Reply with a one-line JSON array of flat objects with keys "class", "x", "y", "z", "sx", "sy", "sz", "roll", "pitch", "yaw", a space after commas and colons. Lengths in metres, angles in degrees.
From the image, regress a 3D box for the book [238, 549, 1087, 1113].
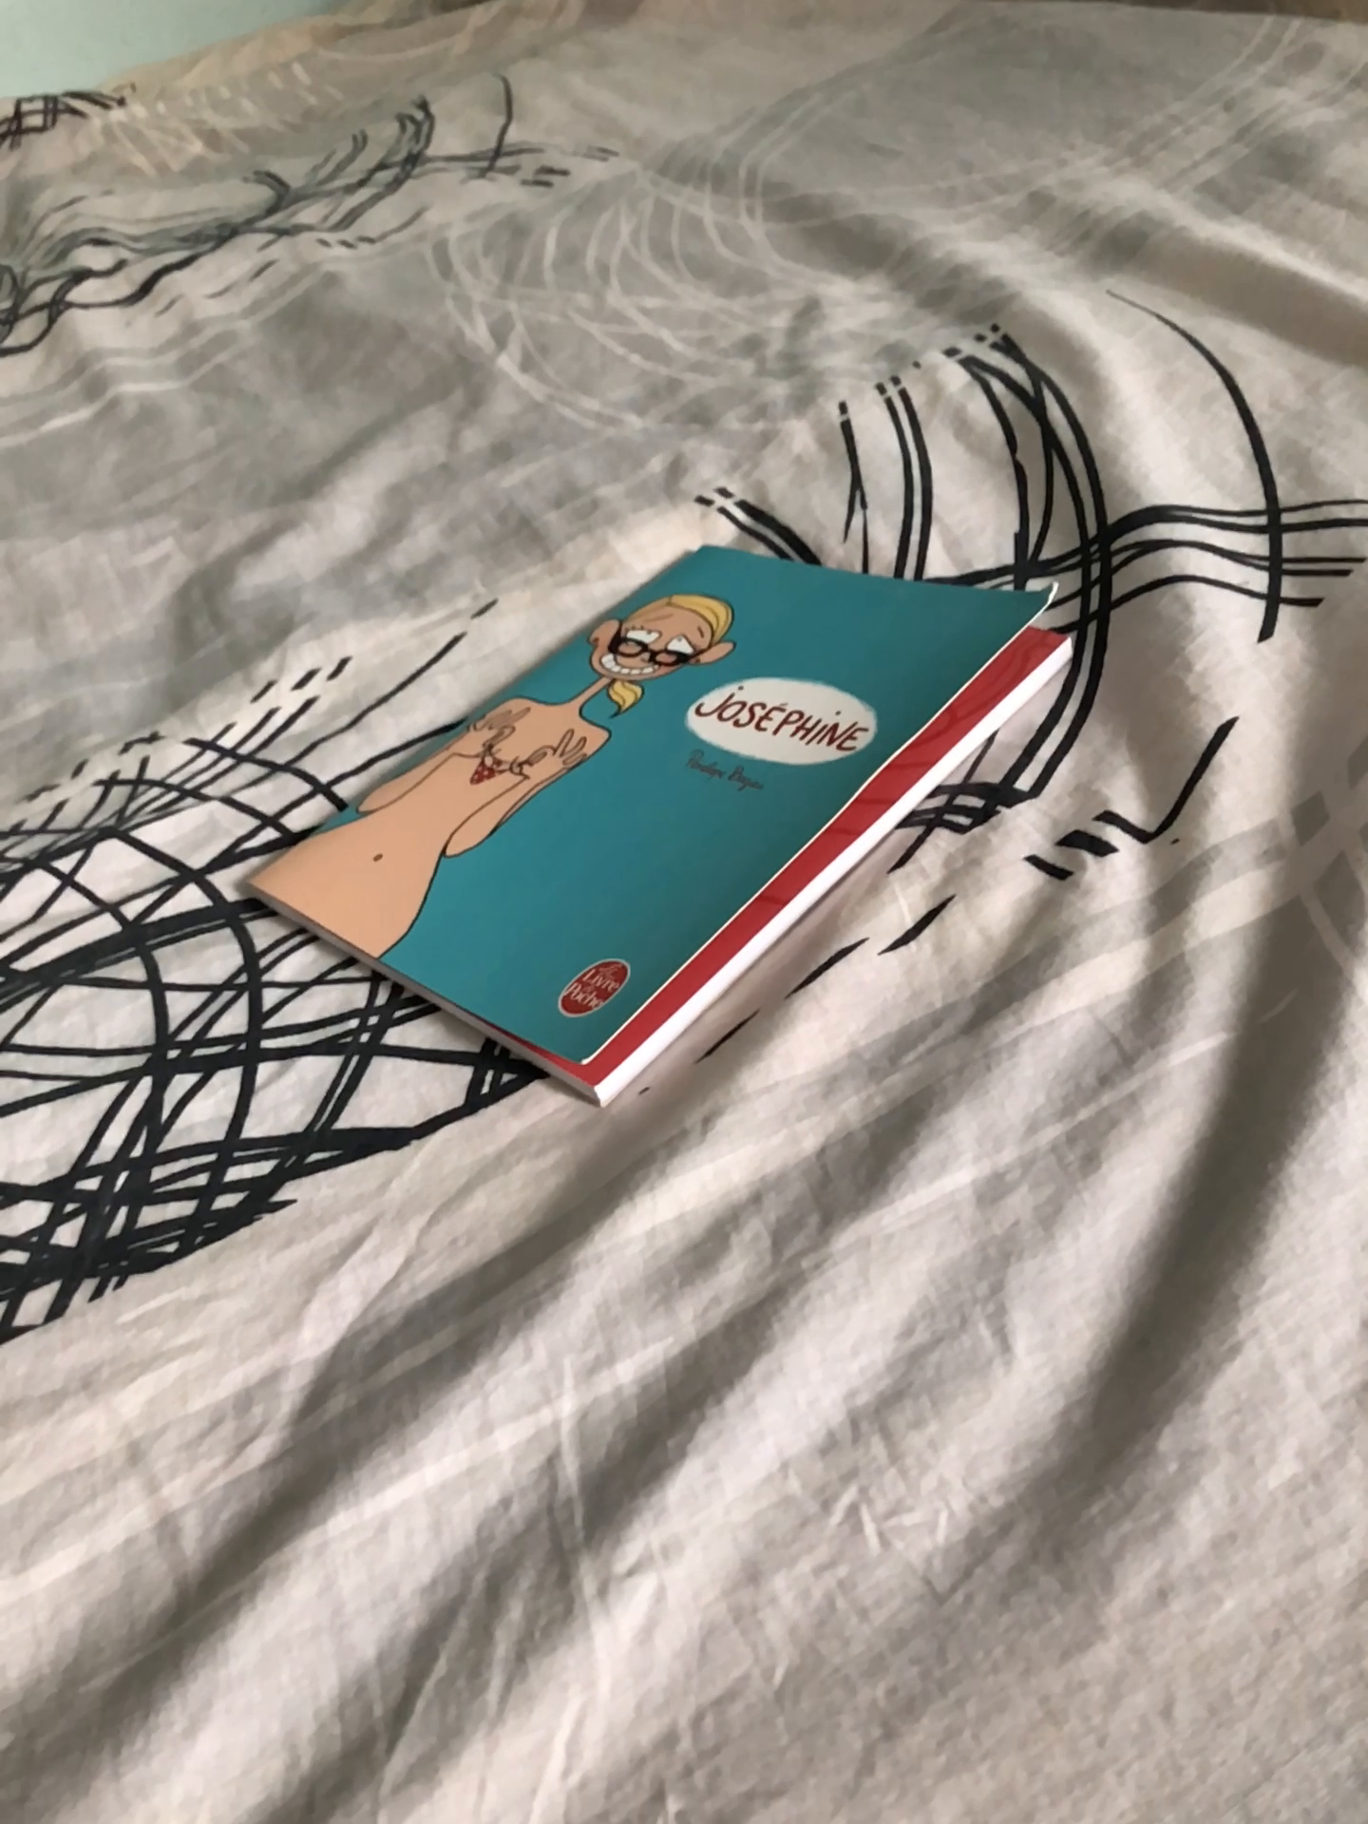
[{"class": "book", "x": -0.007, "y": -0.038, "z": 0.406, "sx": 0.144, "sy": 0.014, "sz": 0.188, "roll": 21, "pitch": 53, "yaw": 43}]
